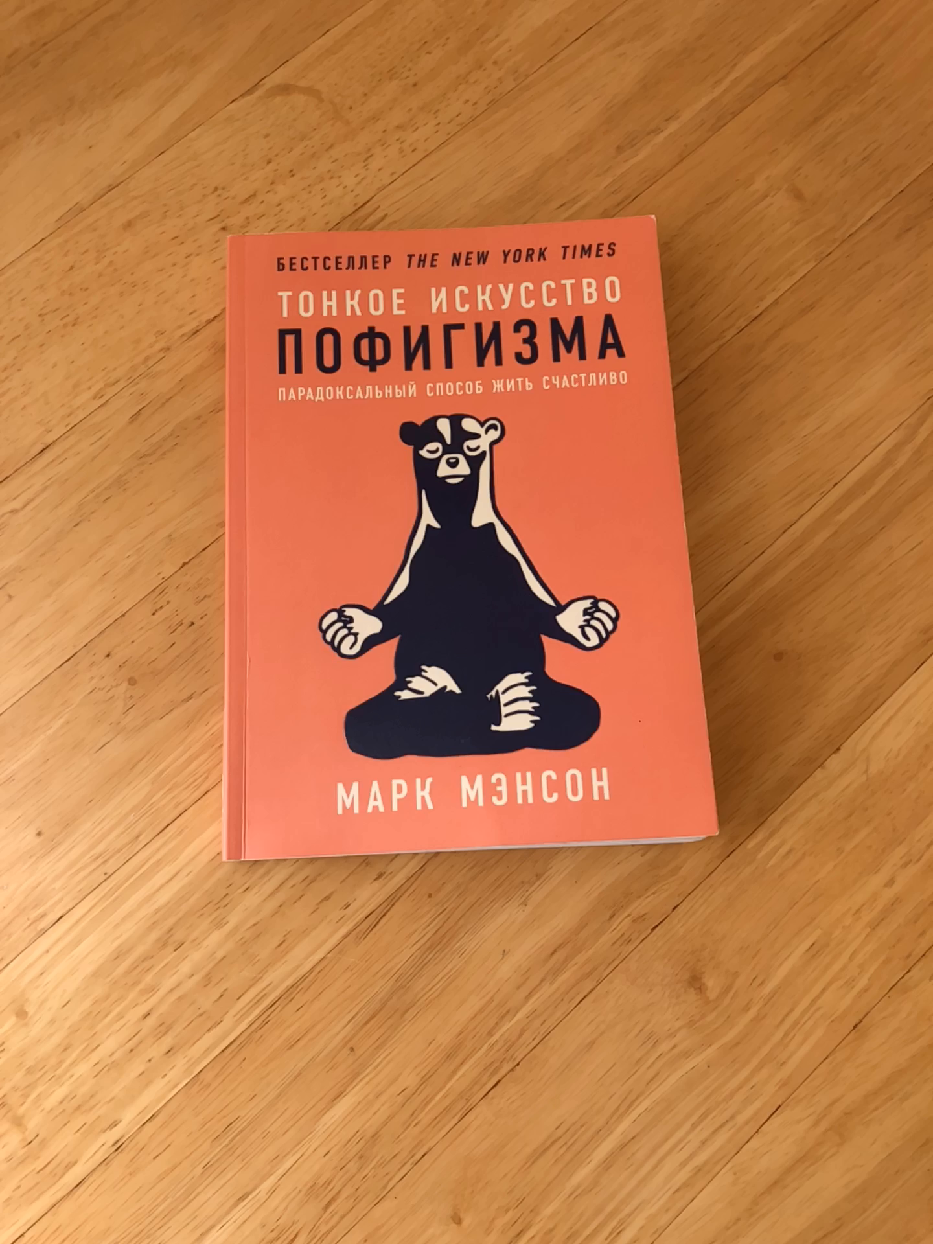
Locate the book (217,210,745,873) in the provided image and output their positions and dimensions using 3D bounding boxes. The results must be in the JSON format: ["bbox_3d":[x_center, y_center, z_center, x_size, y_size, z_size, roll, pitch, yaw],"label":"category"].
[{"bbox_3d":[-0.001,-0.028,0.320,0.143,0.033,0.197,-3,77,-3],"label":"book"}]
